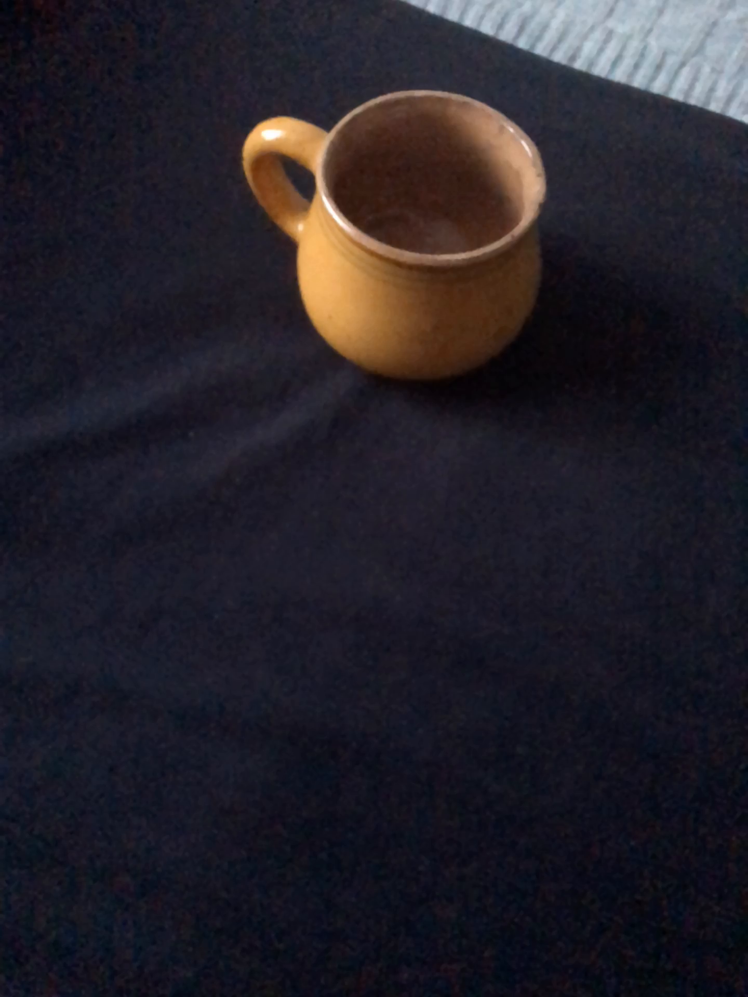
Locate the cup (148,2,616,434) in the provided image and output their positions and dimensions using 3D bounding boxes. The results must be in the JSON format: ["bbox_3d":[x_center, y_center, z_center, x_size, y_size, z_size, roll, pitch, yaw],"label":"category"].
[{"bbox_3d":[0.002,-0.096,0.284,0.119,0.058,0.082,33,66,12],"label":"cup"}]
